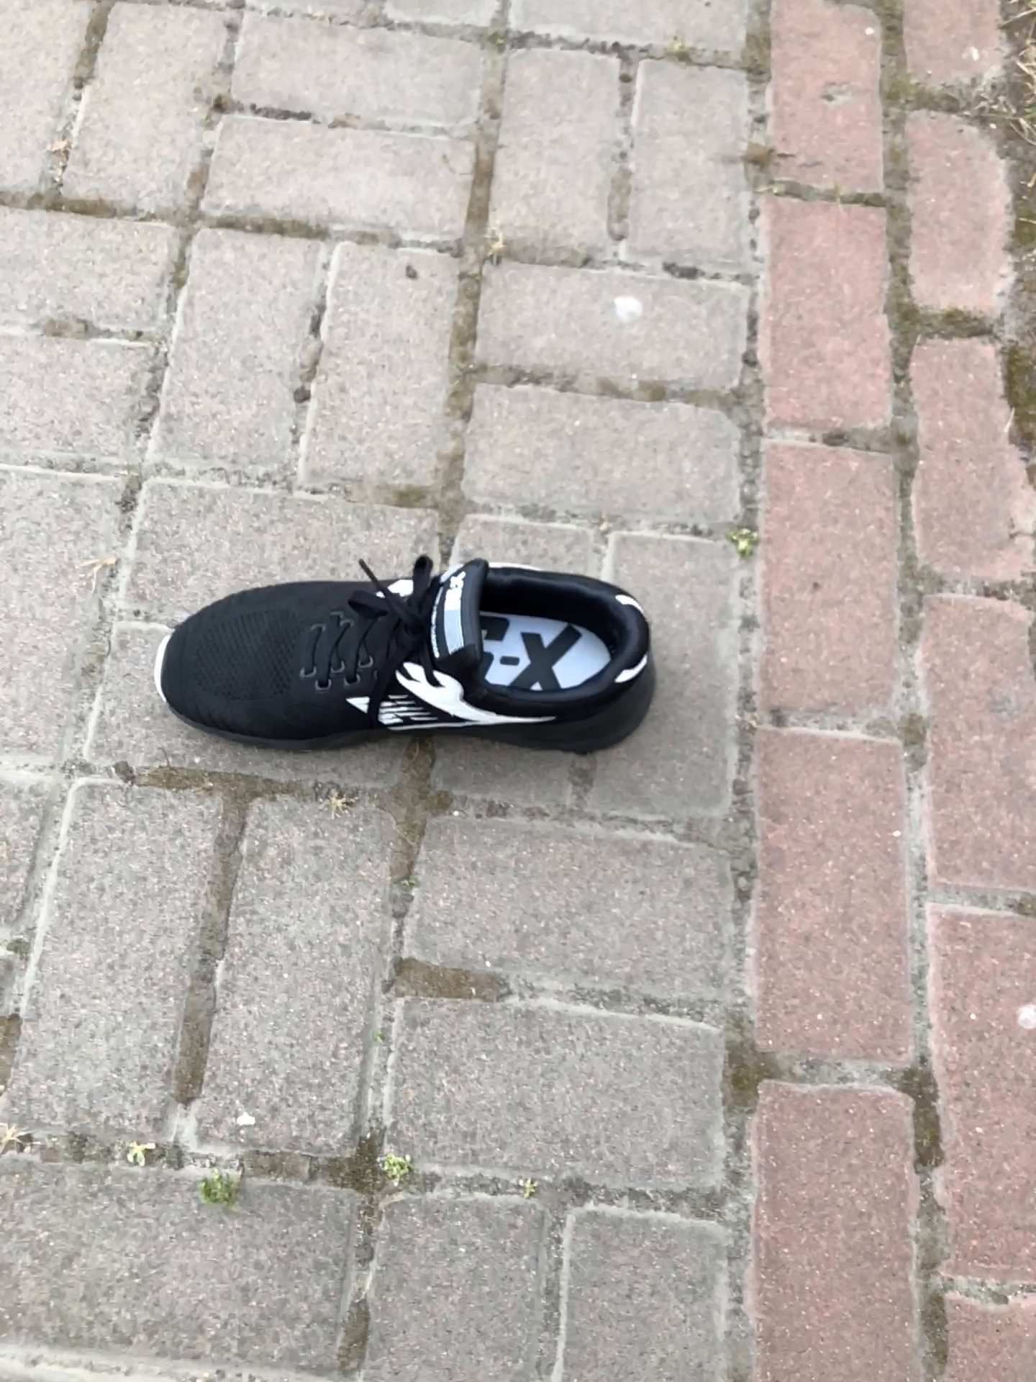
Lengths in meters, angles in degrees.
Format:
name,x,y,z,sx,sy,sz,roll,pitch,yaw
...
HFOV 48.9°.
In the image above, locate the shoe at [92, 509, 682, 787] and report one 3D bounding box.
name,x,y,z,sx,sy,sz,roll,pitch,yaw
shoe,-0.063,-0.018,0.621,0.280,0.130,0.100,2,71,-2
